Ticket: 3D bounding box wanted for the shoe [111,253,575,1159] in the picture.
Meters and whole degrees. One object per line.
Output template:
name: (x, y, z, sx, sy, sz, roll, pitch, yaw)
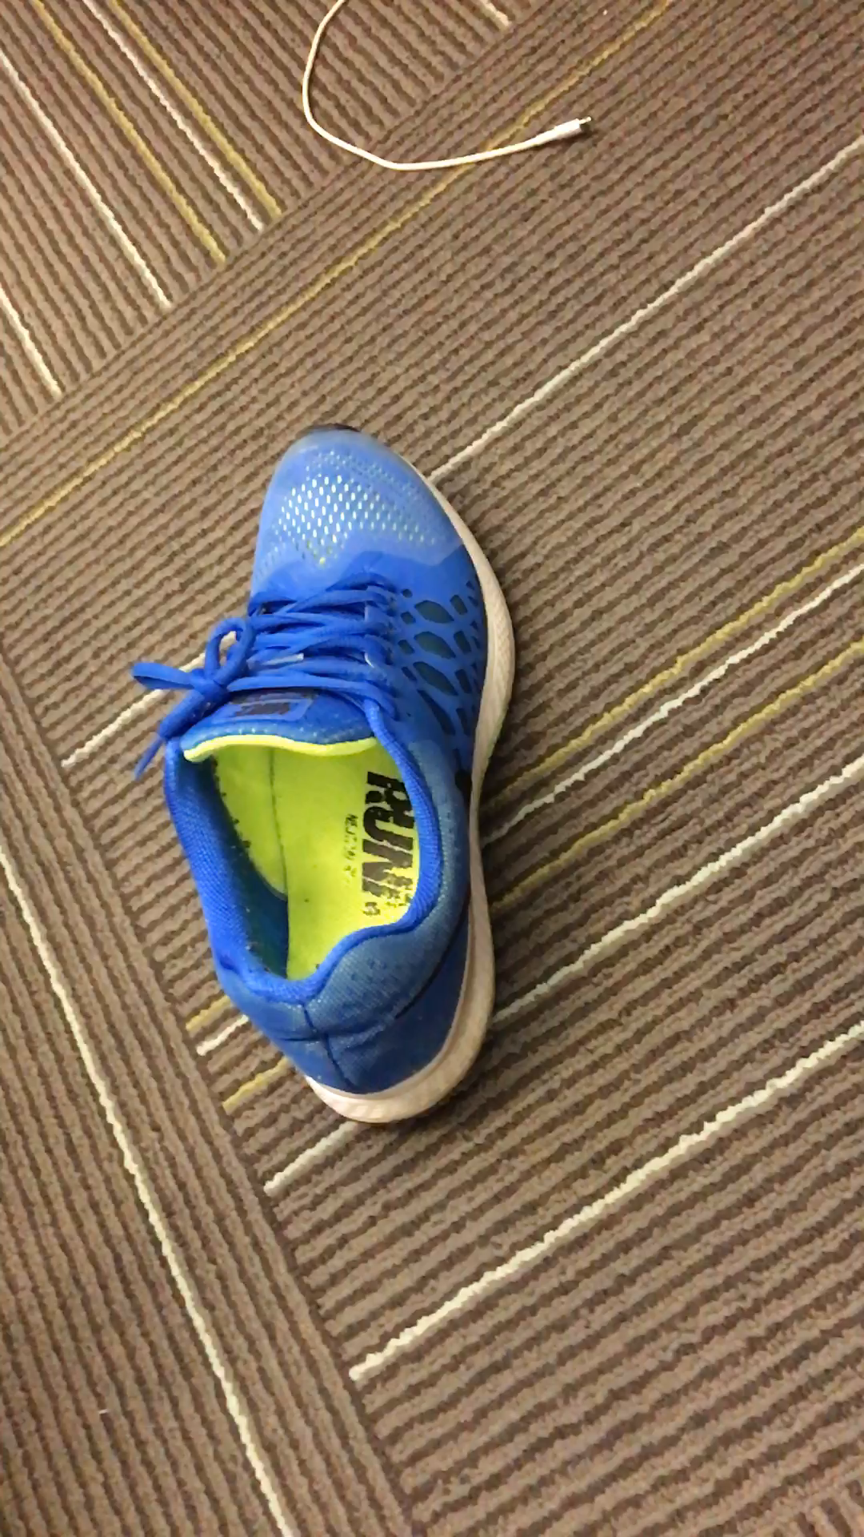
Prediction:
shoe: (-0.027, -0.015, 0.508, 0.110, 0.150, 0.310, -10, 68, 19)
